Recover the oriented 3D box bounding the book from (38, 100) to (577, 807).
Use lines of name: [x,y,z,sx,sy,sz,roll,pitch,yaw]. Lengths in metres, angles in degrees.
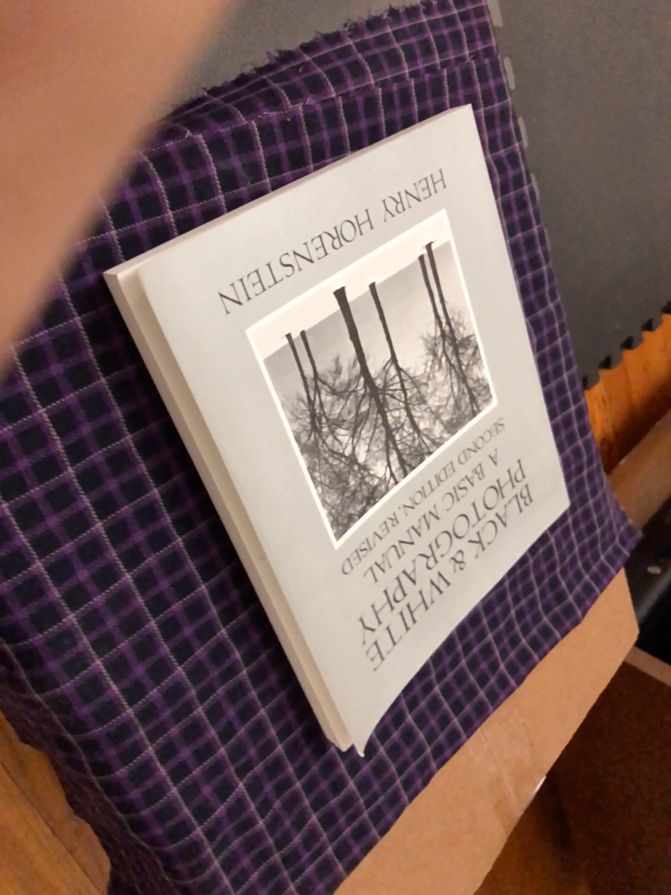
book: [0.022,-0.001,0.350,0.211,0.030,0.250,-38,119,-32]
